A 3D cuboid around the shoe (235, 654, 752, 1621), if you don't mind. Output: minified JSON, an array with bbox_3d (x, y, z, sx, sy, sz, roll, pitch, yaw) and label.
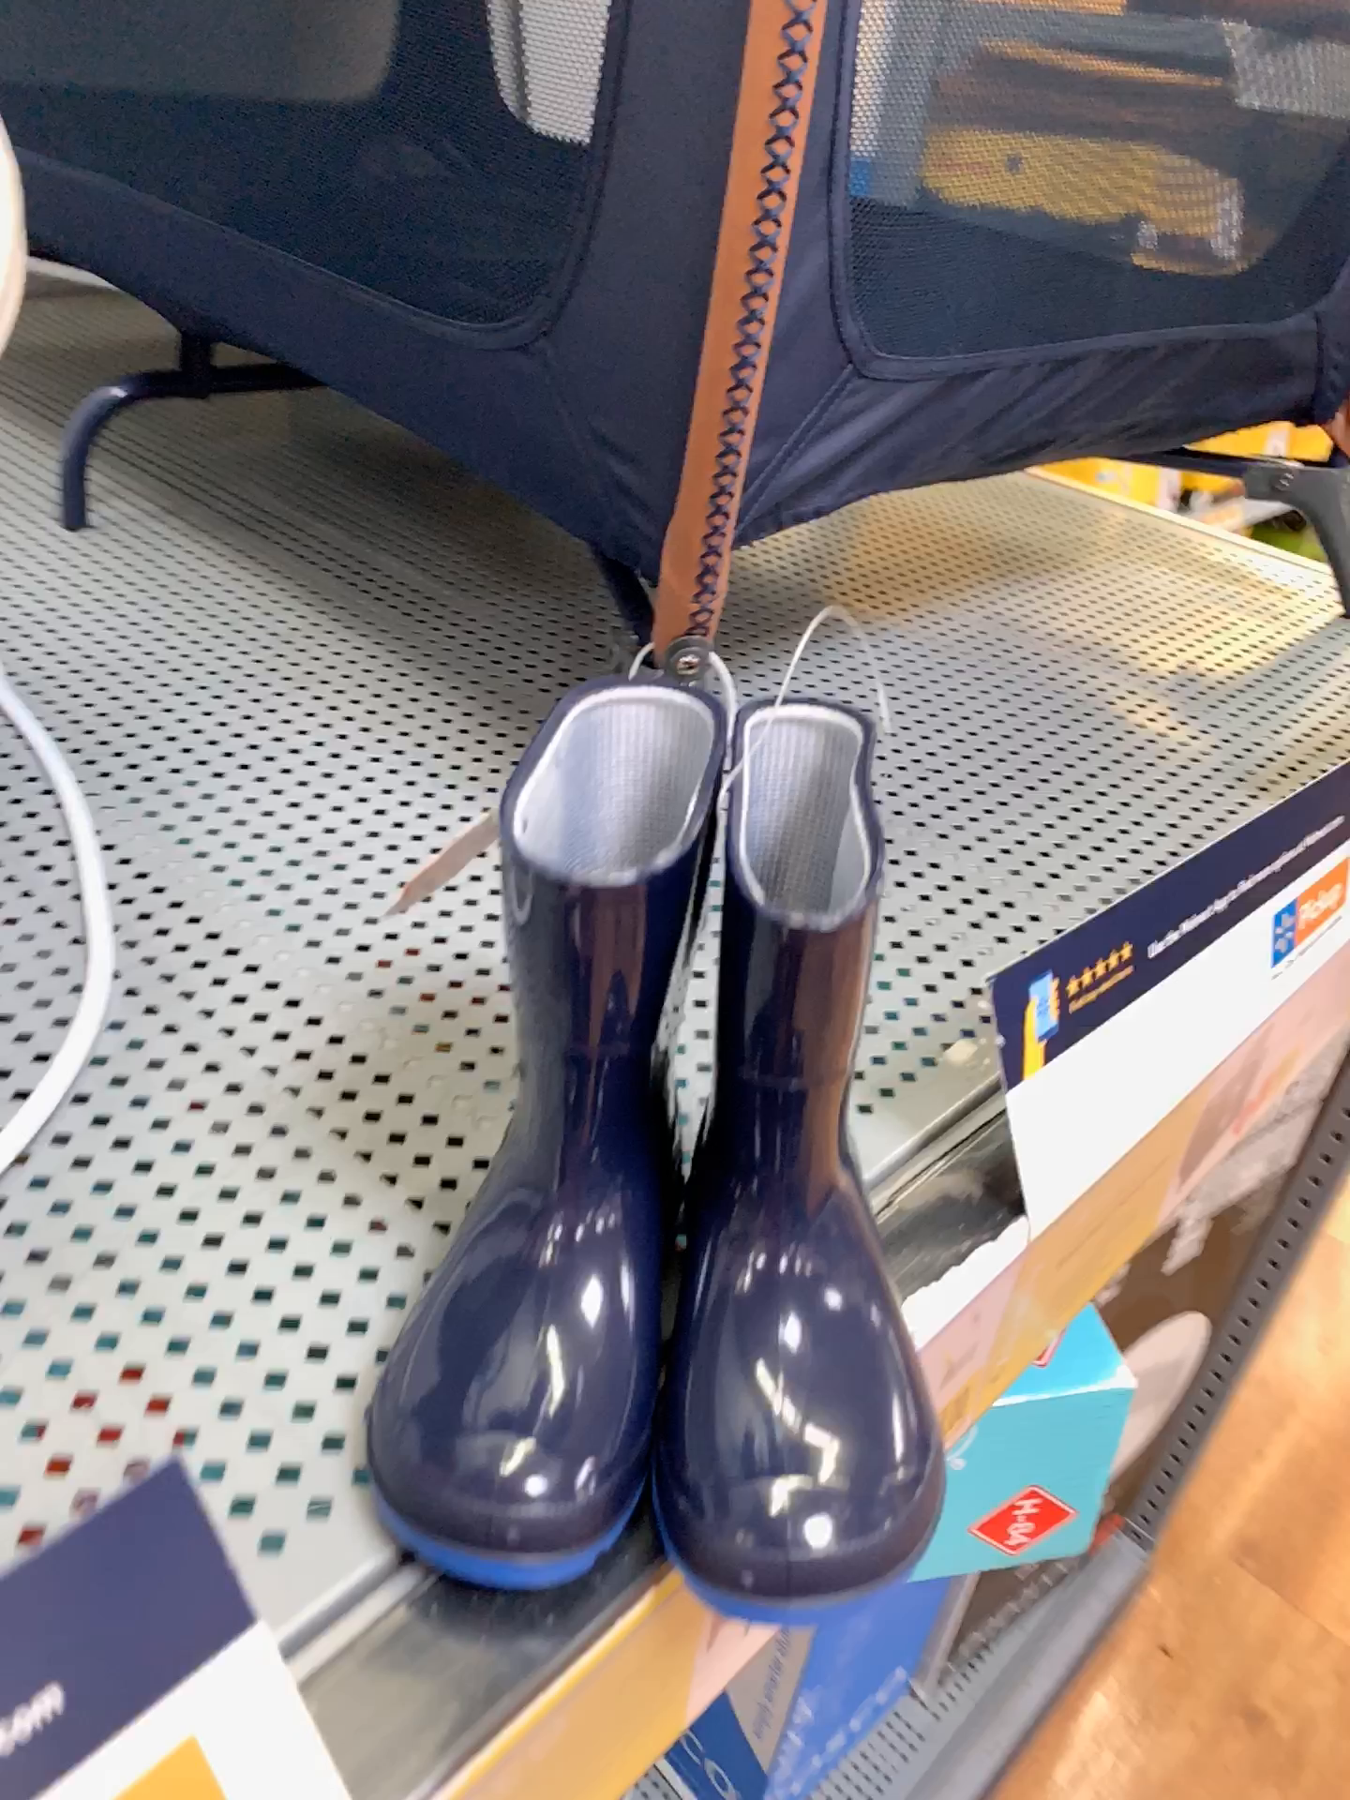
[{"bbox_3d":[-0.030,0.044,0.333,0.074,0.143,0.174,6,32,3],"label":"shoe"}]

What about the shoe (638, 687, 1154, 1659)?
[{"bbox_3d":[0.036,0.053,0.330,0.076,0.143,0.174,3,33,-1],"label":"shoe"}]
